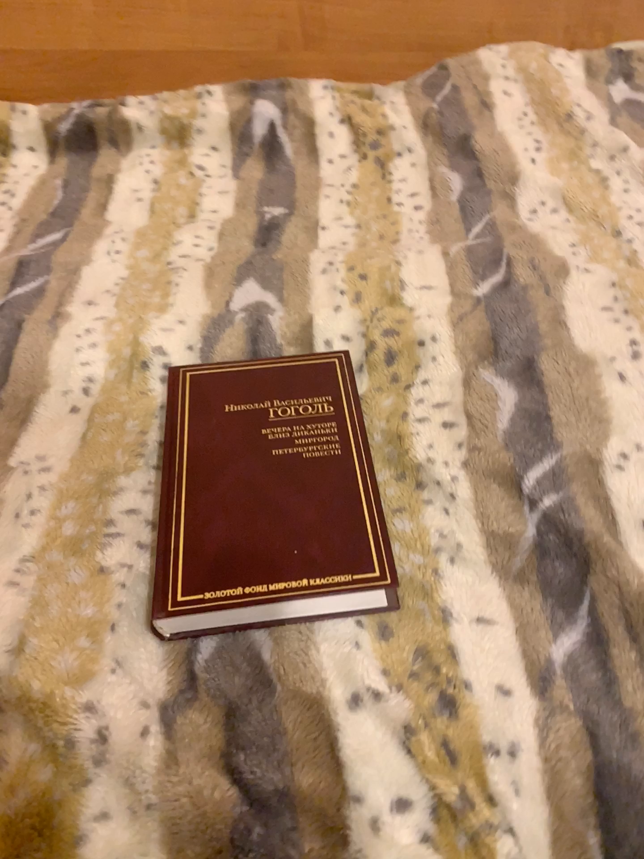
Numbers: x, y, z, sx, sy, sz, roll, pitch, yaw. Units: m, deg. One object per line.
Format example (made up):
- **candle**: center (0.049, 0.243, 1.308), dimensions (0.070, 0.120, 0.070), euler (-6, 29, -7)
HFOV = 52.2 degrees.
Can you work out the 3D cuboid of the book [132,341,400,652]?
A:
- **book**: center (-0.043, 0.032, 0.449), dimensions (0.149, 0.040, 0.212), euler (-6, 49, -4)
